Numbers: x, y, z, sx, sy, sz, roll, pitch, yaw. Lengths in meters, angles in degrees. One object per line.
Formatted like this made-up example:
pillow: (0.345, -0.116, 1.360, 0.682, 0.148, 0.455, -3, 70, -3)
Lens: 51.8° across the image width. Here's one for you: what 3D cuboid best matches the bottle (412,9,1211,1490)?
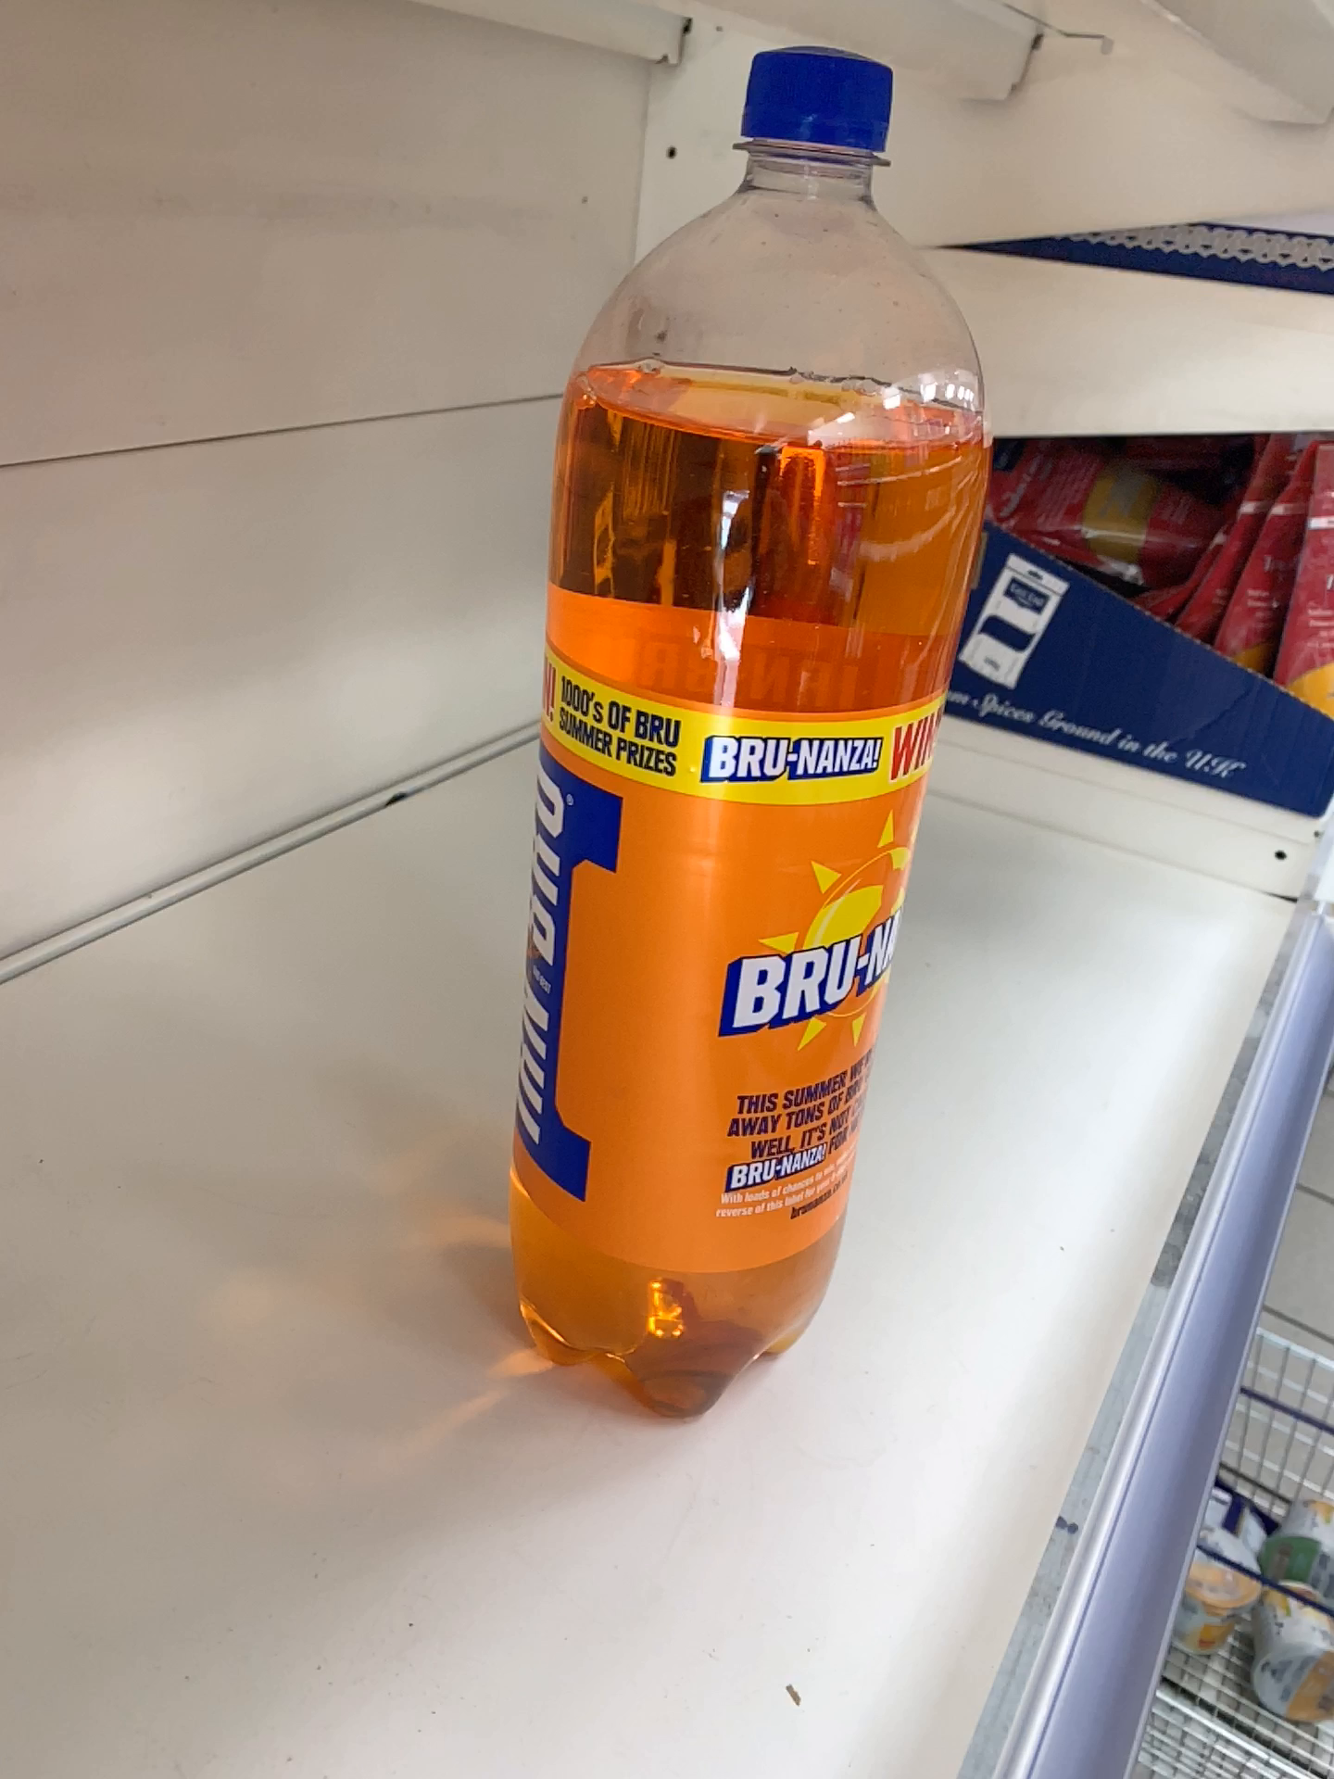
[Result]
bottle: (0.017, -0.025, 0.354, 0.110, 0.327, 0.111, 6, 27, -3)
